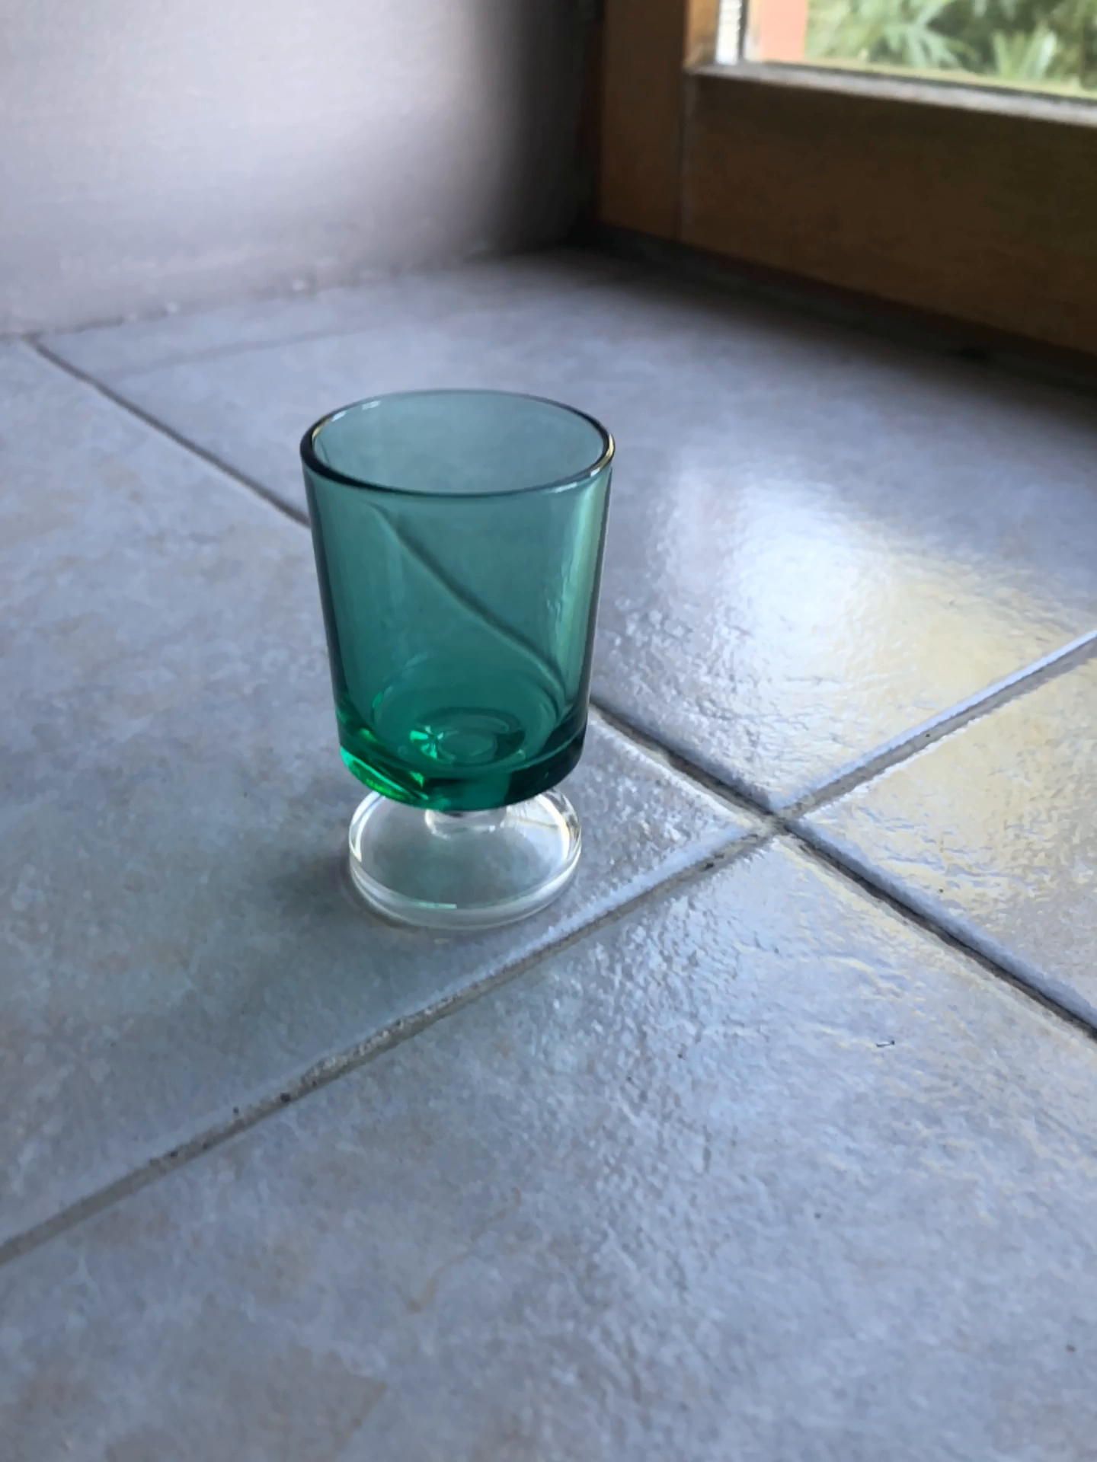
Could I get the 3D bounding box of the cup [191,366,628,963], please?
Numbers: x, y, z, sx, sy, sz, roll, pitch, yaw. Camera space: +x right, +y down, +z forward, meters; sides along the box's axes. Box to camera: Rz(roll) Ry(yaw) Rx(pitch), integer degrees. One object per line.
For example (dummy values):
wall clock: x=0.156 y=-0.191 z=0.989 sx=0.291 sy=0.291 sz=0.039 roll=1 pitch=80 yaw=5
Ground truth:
cup: x=-0.015 y=-0.010 z=0.175 sx=0.044 sy=0.068 sz=0.044 roll=0 pitch=34 yaw=0
